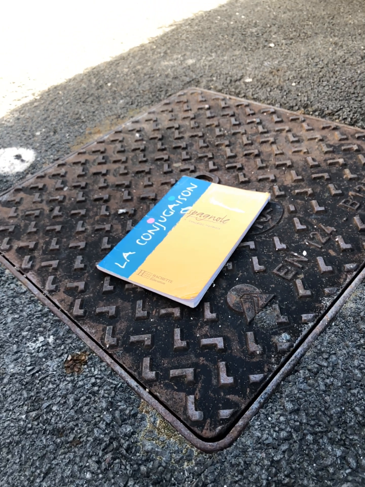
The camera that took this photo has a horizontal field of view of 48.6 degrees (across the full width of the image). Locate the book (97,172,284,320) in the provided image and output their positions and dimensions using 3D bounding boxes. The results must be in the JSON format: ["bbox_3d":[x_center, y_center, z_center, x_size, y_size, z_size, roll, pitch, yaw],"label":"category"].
[{"bbox_3d":[0.016,-0.012,0.468,0.140,0.017,0.188,18,50,28],"label":"book"}]
